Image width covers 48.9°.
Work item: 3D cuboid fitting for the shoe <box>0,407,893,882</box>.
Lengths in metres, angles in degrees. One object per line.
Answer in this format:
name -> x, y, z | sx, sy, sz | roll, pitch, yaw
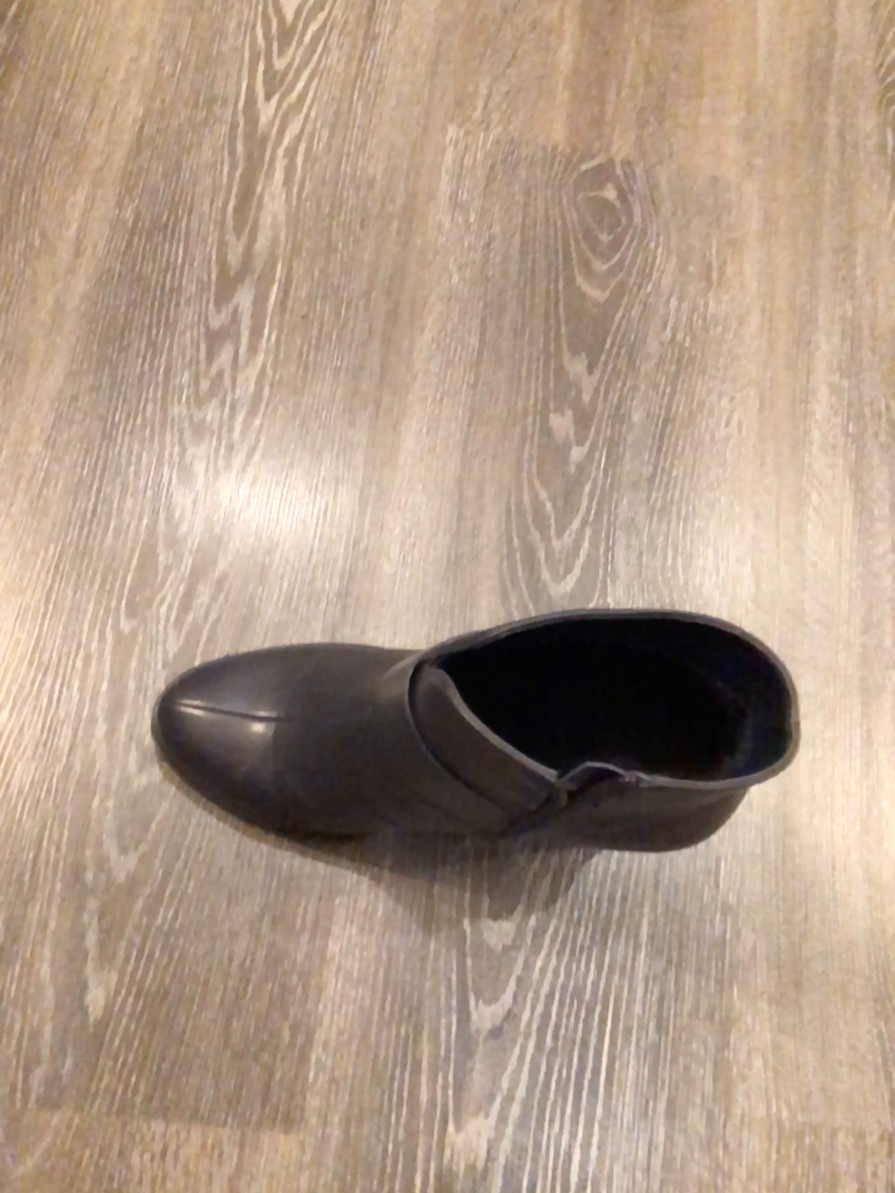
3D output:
shoe -> -0.005, 0.037, 0.361 | 0.240, 0.190, 0.090 | 8, 69, -5
